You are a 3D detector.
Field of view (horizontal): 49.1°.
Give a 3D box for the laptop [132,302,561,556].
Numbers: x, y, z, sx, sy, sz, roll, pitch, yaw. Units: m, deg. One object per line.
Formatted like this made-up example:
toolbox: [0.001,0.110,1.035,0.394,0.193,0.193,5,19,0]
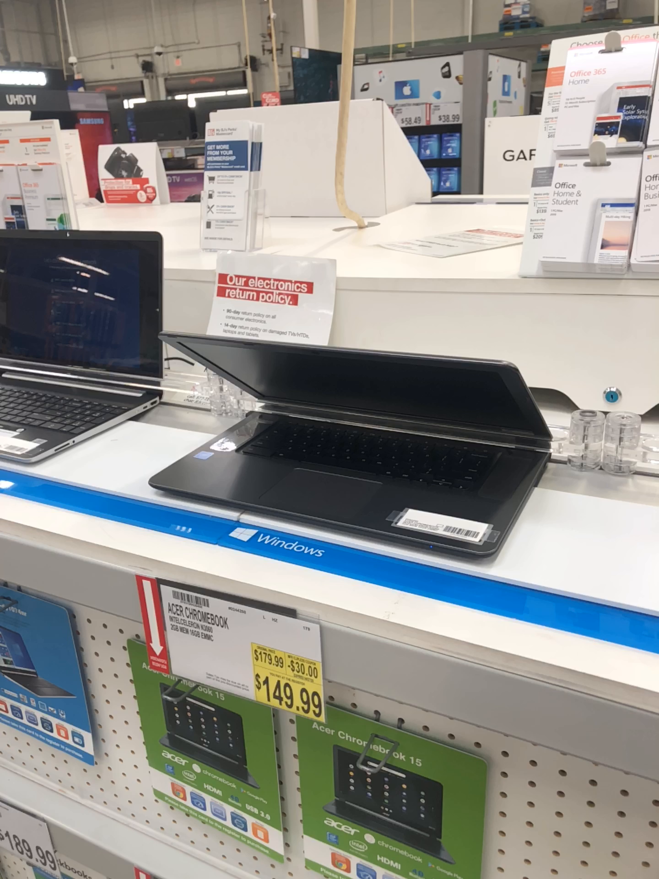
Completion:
laptop: [0.020,-0.036,0.738,0.365,0.136,0.220,9,27,28]
